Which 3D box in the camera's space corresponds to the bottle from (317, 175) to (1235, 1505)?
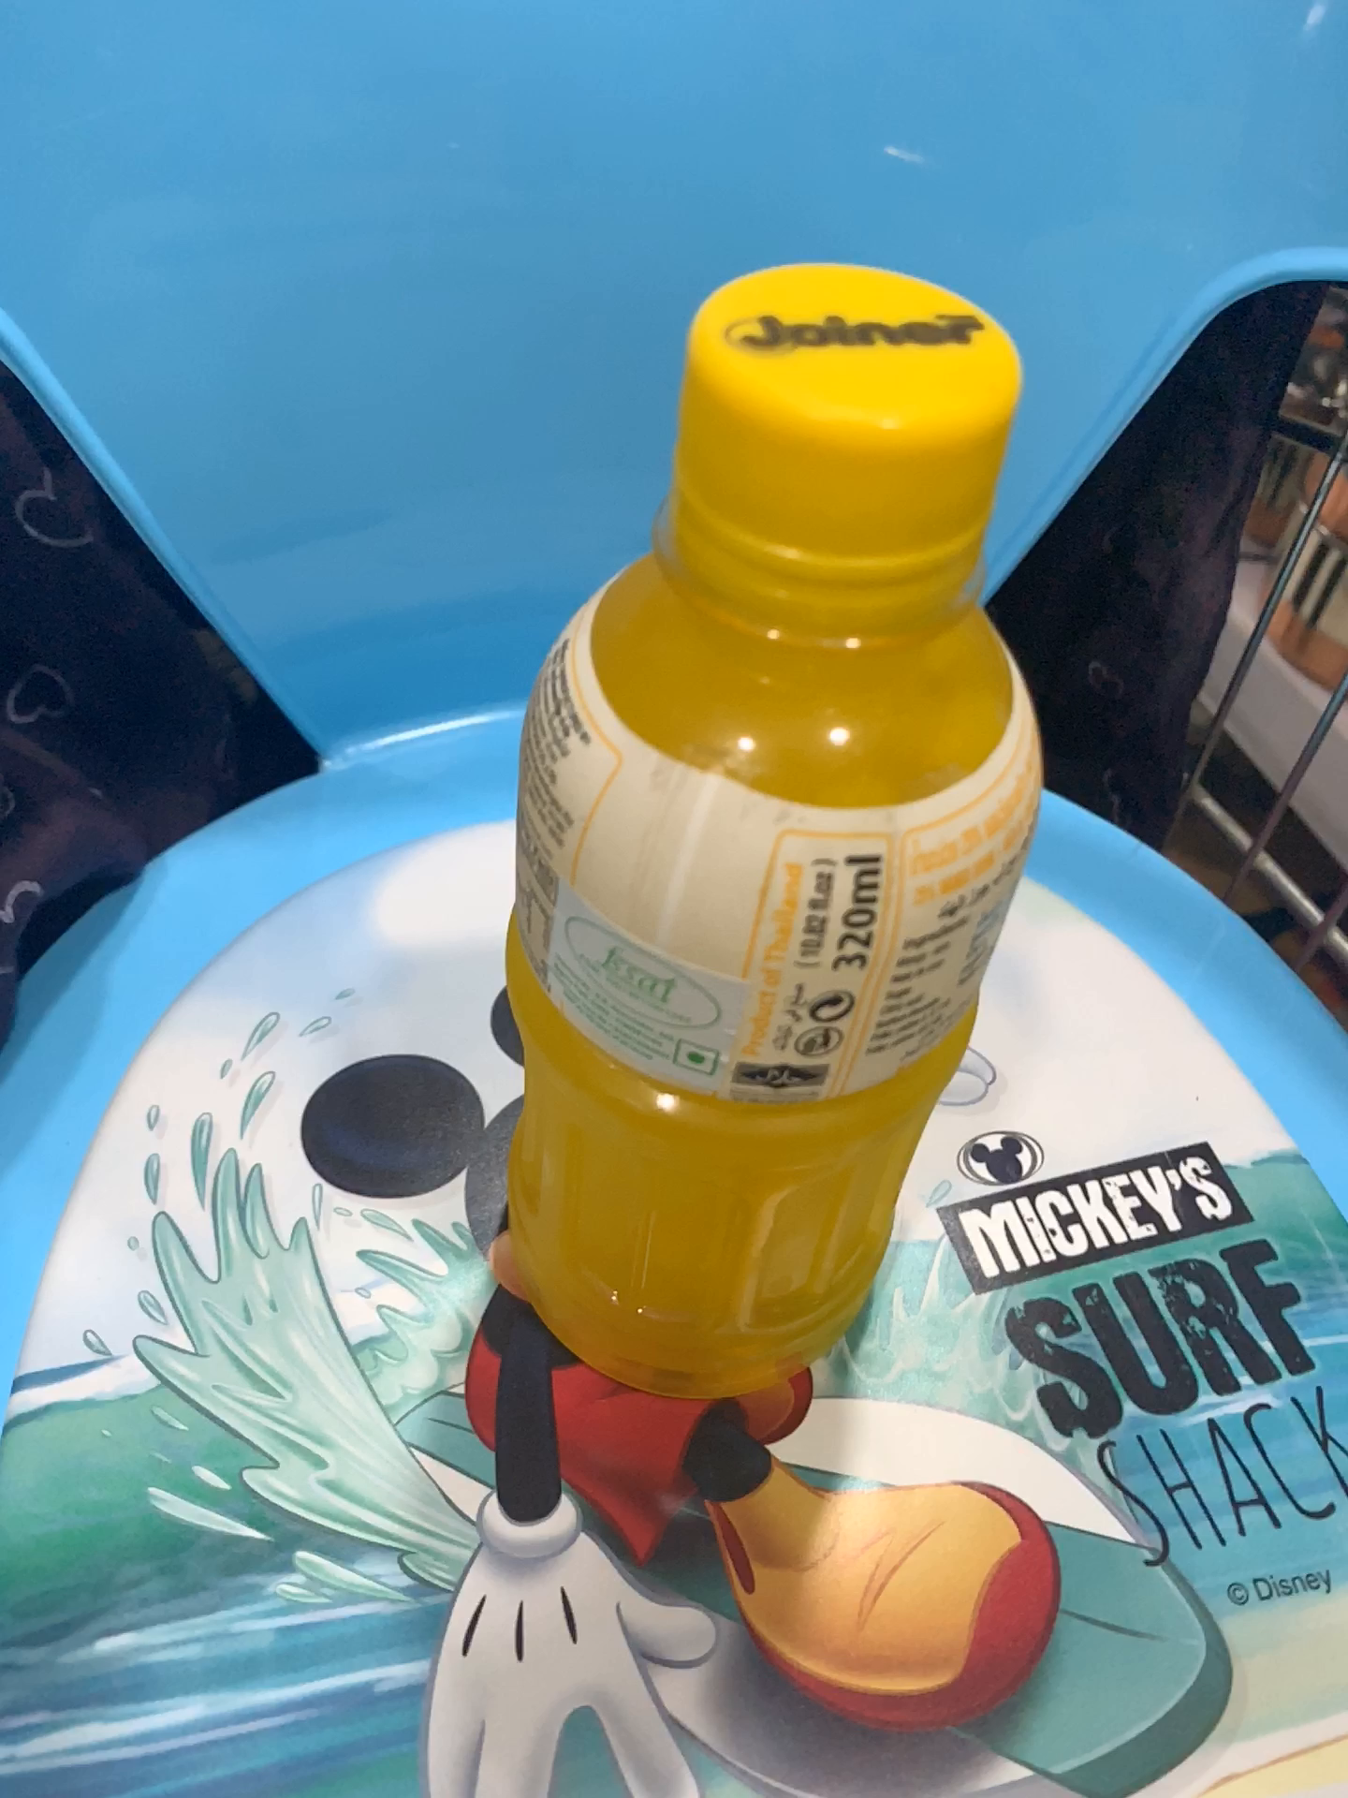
[{"bbox_3d":[0.010,0.003,0.166,0.060,0.139,0.060,2,44,-2],"label":"bottle"}]
